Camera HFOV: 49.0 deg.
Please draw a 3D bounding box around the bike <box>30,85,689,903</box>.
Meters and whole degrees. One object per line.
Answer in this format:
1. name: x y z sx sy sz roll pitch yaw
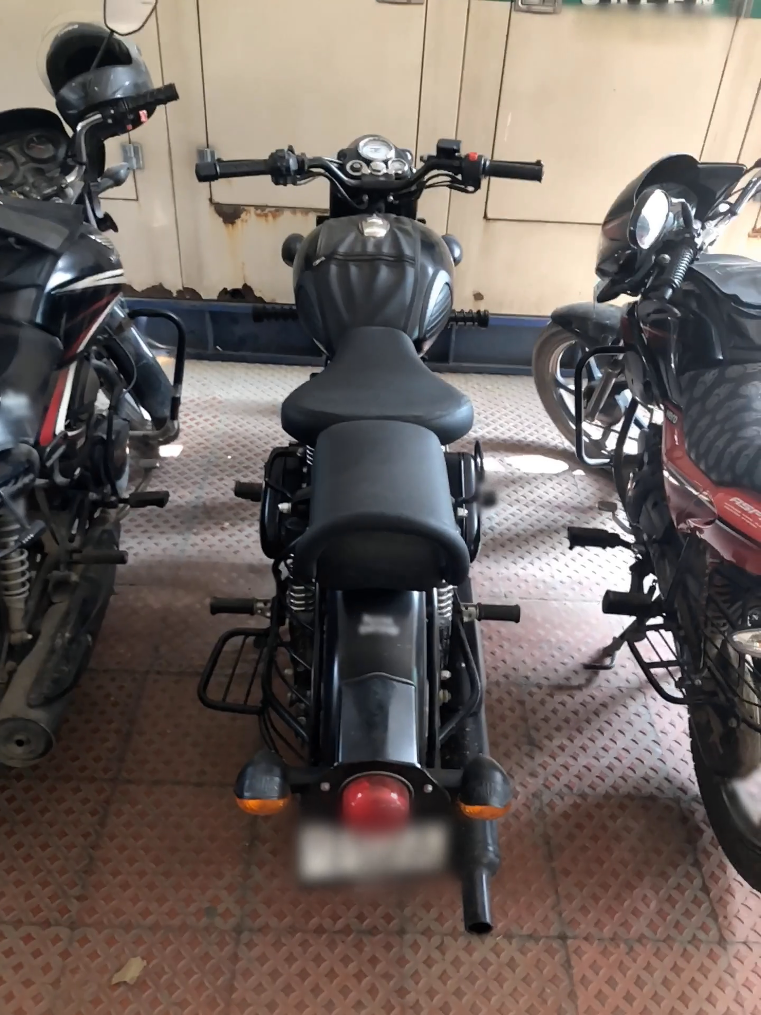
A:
1. bike: -0.101 -0.205 1.839 0.708 0.919 1.697 0 39 -5
